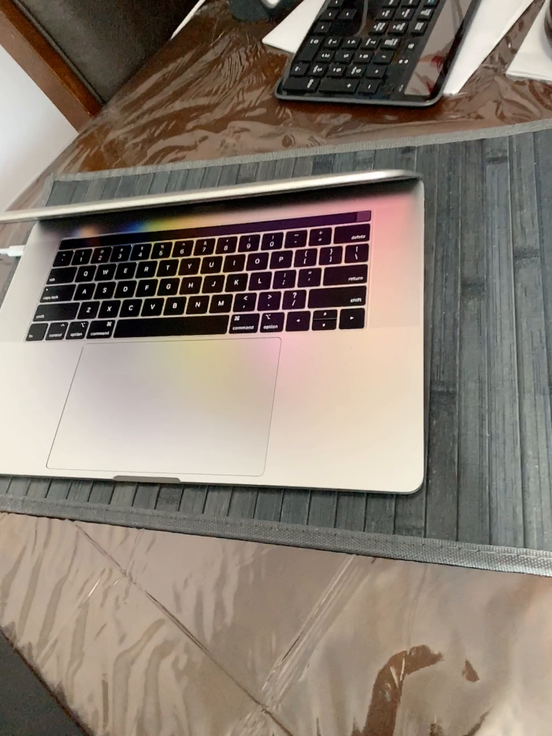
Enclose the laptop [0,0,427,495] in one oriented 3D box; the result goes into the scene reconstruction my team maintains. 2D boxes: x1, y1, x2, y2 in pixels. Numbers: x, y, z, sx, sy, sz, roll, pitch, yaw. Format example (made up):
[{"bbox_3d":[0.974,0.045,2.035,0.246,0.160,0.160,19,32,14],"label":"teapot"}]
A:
[{"bbox_3d":[-0.090,-0.071,0.346,0.342,0.166,0.233,-1,63,18],"label":"laptop"}]
